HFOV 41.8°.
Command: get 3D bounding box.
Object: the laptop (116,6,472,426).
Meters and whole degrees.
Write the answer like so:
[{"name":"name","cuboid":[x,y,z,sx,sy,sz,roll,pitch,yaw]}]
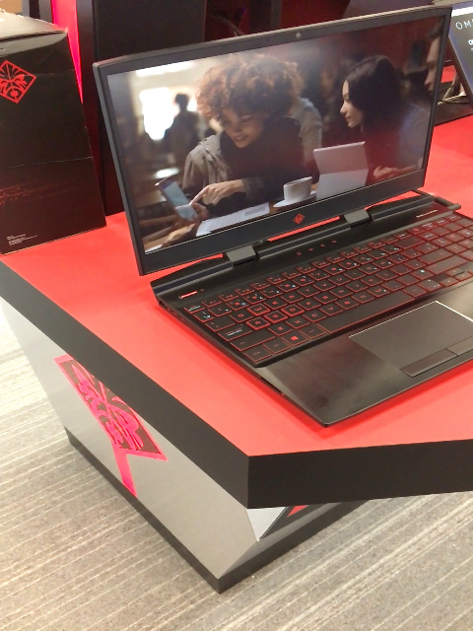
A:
[{"name":"laptop","cuboid":[0.142,-0.111,0.560,0.358,0.225,0.254,-24,48,-24]}]
